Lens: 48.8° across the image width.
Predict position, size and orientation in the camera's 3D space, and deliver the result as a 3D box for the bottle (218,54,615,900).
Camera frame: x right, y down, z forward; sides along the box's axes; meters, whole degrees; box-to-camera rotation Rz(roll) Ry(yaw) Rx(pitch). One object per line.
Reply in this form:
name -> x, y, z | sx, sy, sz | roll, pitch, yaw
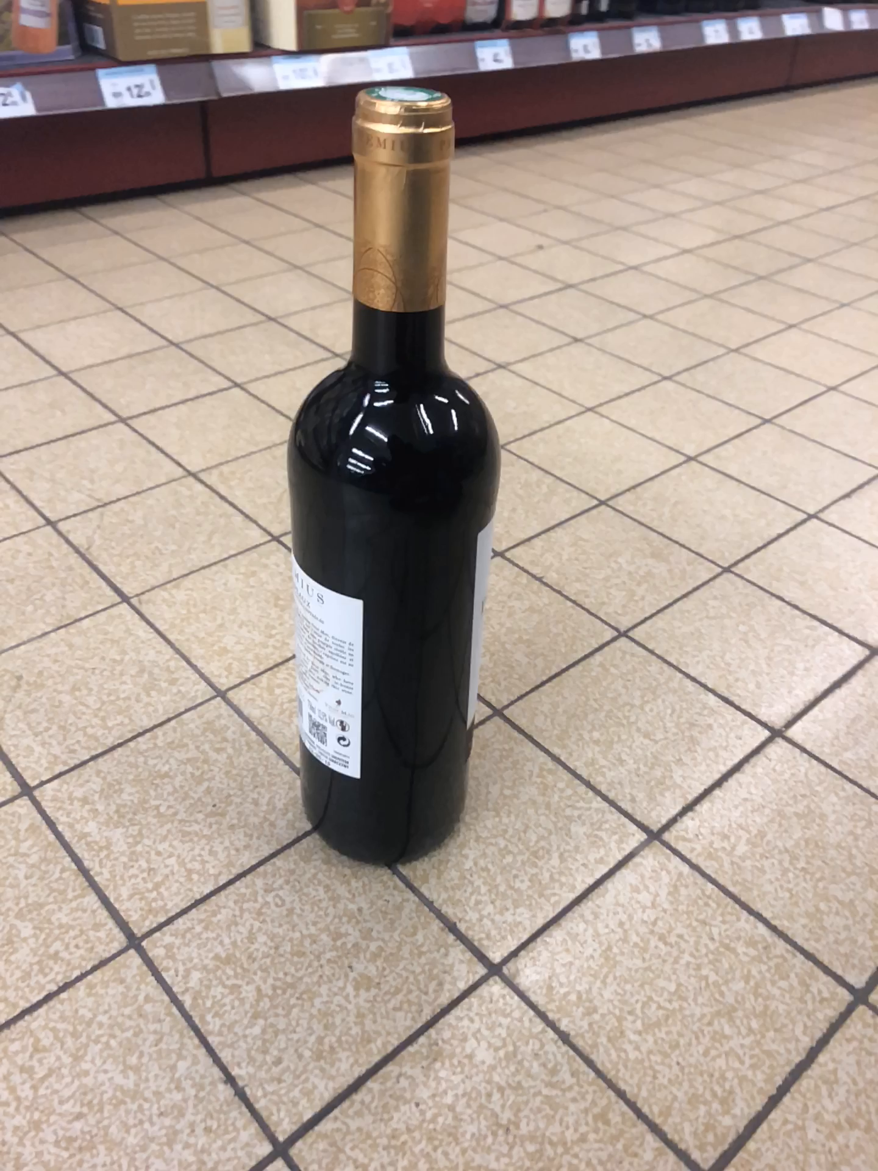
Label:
bottle -> -0.017, -0.024, 0.354 | 0.080, 0.288, 0.090 | -14, 39, -23
